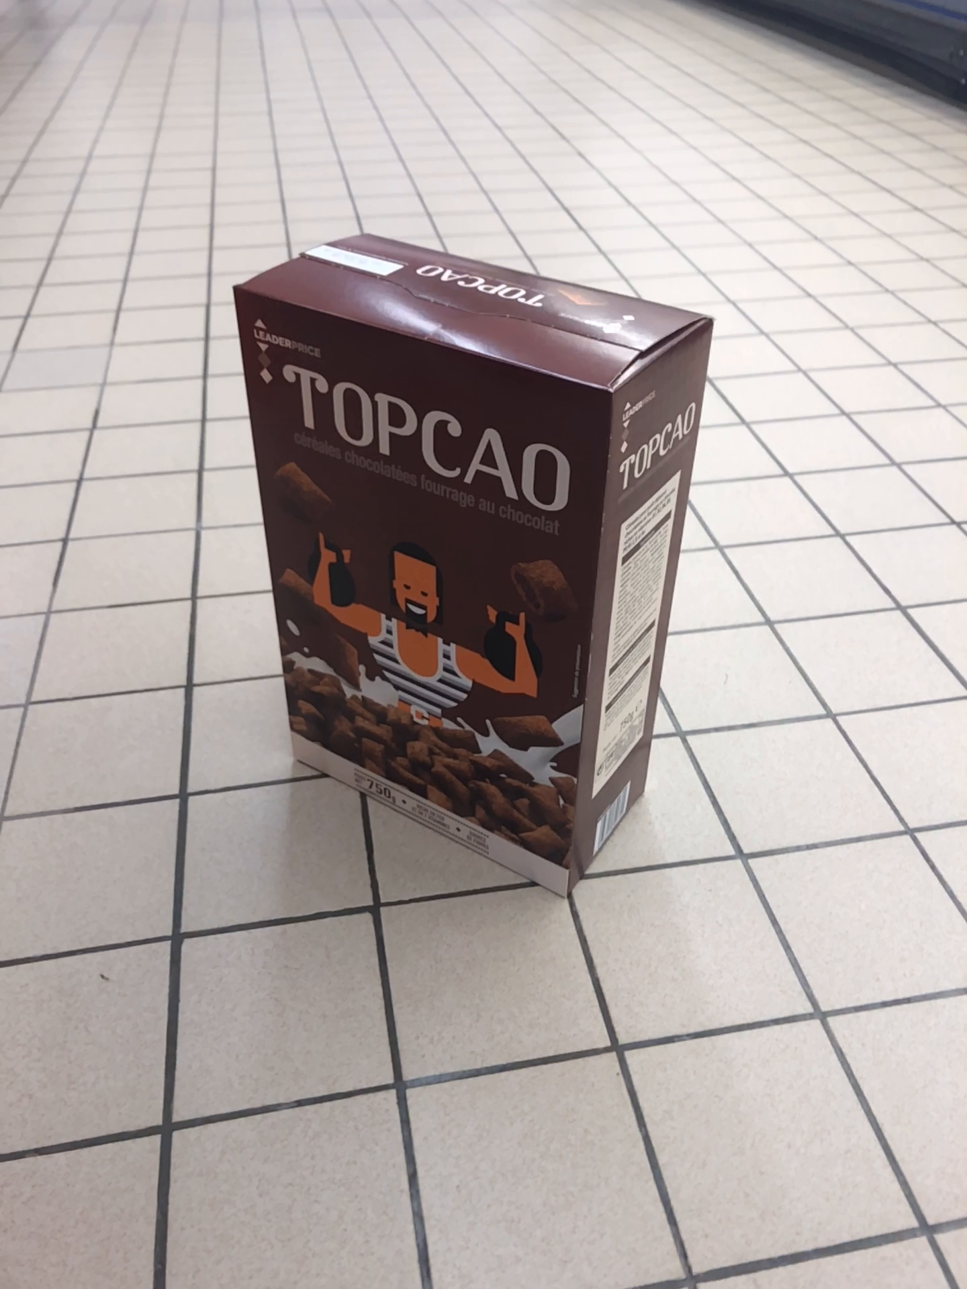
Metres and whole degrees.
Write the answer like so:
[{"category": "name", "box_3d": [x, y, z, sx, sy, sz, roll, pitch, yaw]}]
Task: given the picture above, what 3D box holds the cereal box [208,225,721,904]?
[{"category": "cereal box", "box_3d": [-0.013, -0.037, 0.550, 0.200, 0.288, 0.101, 23, 43, 25]}]
